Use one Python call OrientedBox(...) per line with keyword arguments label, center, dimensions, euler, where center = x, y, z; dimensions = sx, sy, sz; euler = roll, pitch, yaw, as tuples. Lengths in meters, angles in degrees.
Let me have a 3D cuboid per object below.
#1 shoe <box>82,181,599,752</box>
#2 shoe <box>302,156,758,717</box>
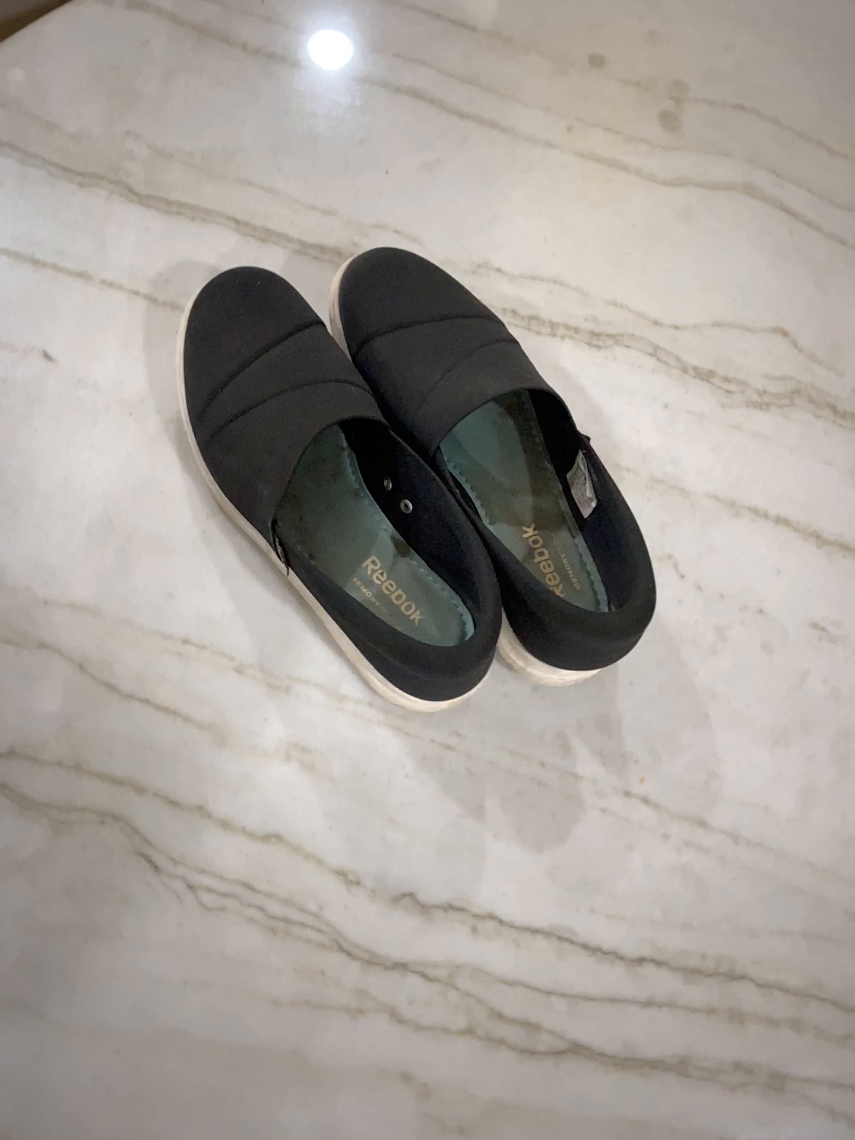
OrientedBox(label="shoe", center=(-0.042, -0.044, 0.389), dimensions=(0.091, 0.079, 0.229), euler=(-34, 80, -16))
OrientedBox(label="shoe", center=(0.035, -0.061, 0.404), dimensions=(0.091, 0.079, 0.229), euler=(-26, 77, -14))
